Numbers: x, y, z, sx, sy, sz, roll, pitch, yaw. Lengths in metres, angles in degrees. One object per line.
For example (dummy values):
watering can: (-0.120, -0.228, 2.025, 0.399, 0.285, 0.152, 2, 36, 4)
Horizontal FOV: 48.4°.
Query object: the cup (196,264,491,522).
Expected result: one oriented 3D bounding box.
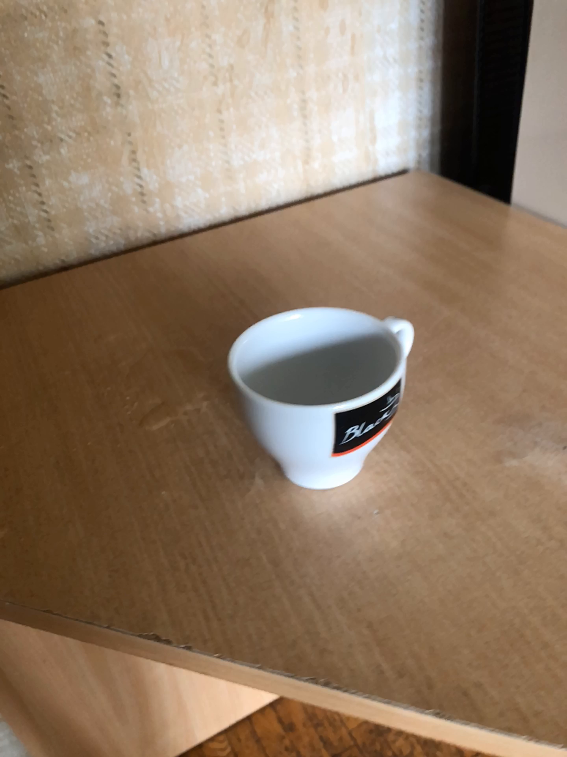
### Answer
cup: (0.029, -0.001, 0.294, 0.104, 0.050, 0.080, -31, 42, -29)
